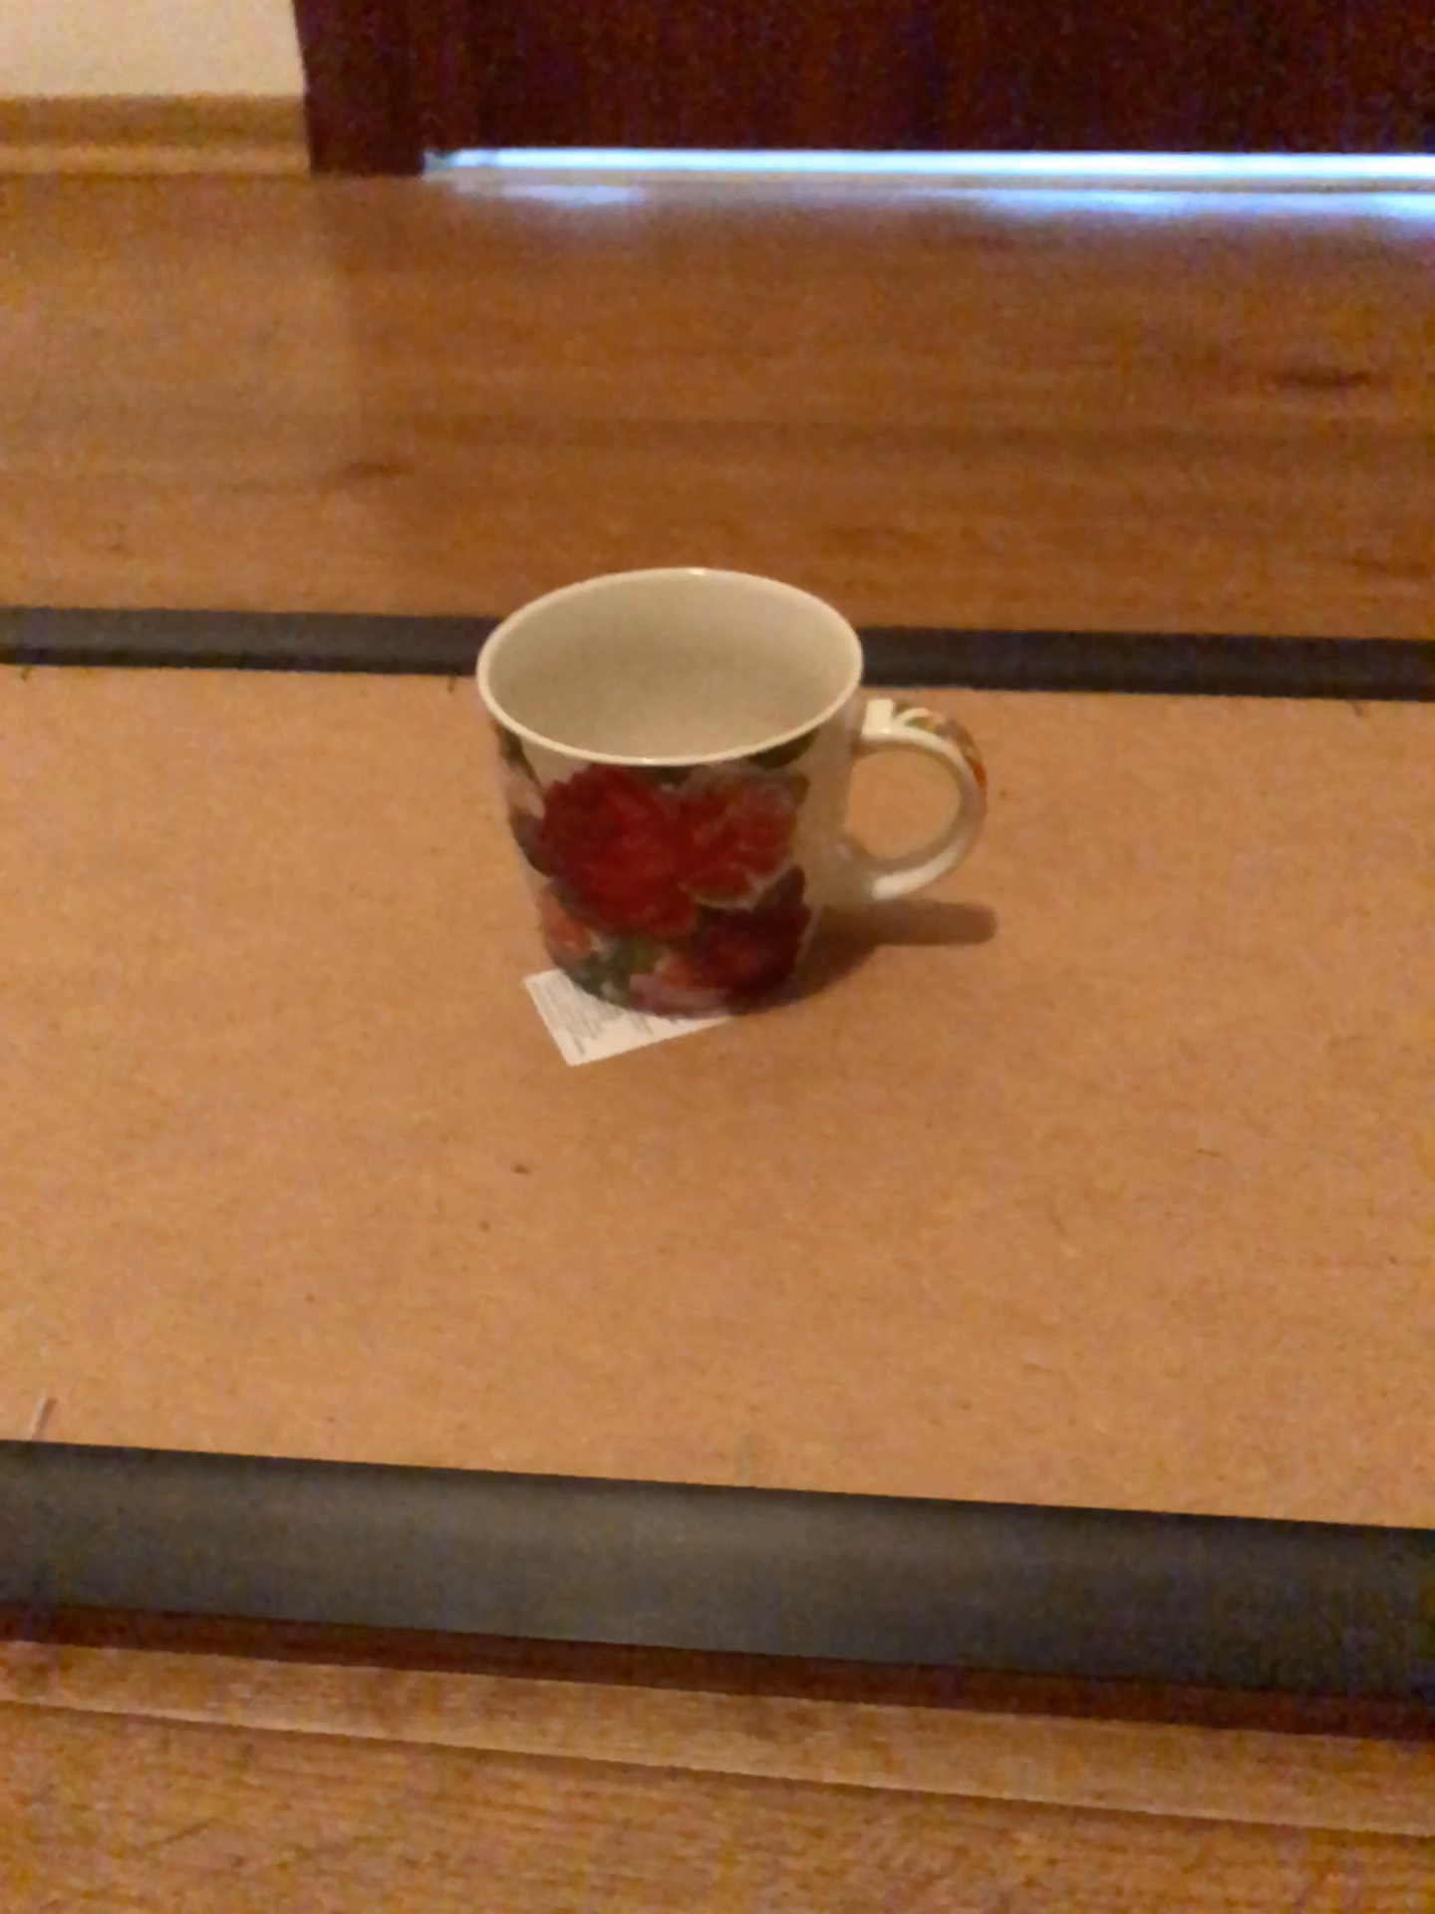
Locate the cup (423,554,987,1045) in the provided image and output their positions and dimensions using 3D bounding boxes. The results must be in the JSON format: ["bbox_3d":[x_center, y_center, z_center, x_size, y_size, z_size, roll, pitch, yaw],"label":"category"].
[{"bbox_3d":[0.001,-0.043,0.403,0.121,0.079,0.098,2,39,4],"label":"cup"}]
